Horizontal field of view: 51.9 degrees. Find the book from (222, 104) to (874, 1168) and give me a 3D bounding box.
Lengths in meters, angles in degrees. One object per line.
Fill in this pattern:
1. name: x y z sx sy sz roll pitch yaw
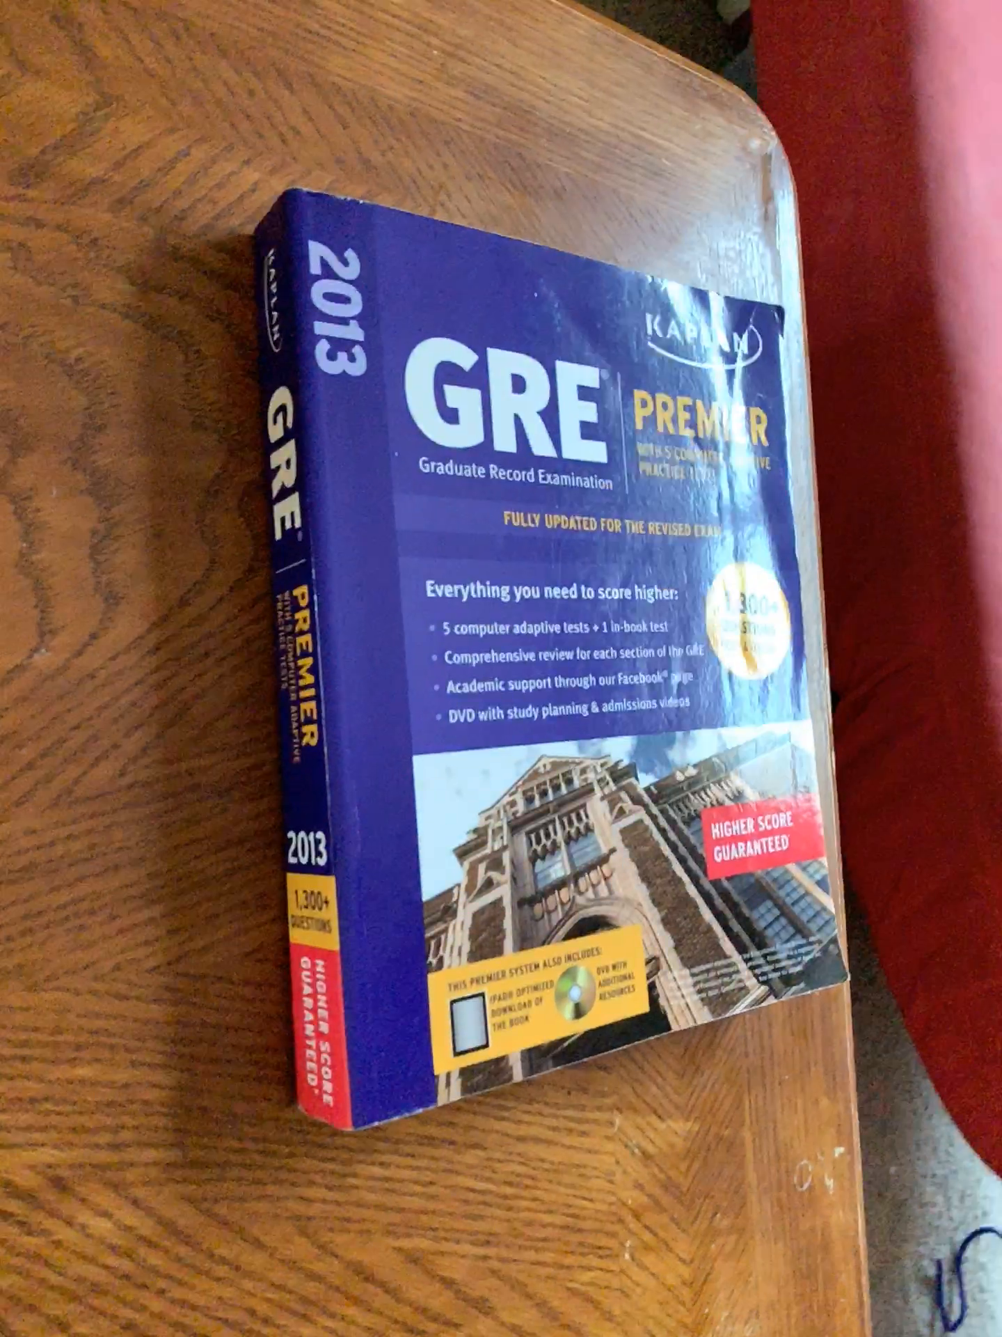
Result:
1. book: 0.026 -0.013 0.367 0.221 0.060 0.290 -1 85 -35
